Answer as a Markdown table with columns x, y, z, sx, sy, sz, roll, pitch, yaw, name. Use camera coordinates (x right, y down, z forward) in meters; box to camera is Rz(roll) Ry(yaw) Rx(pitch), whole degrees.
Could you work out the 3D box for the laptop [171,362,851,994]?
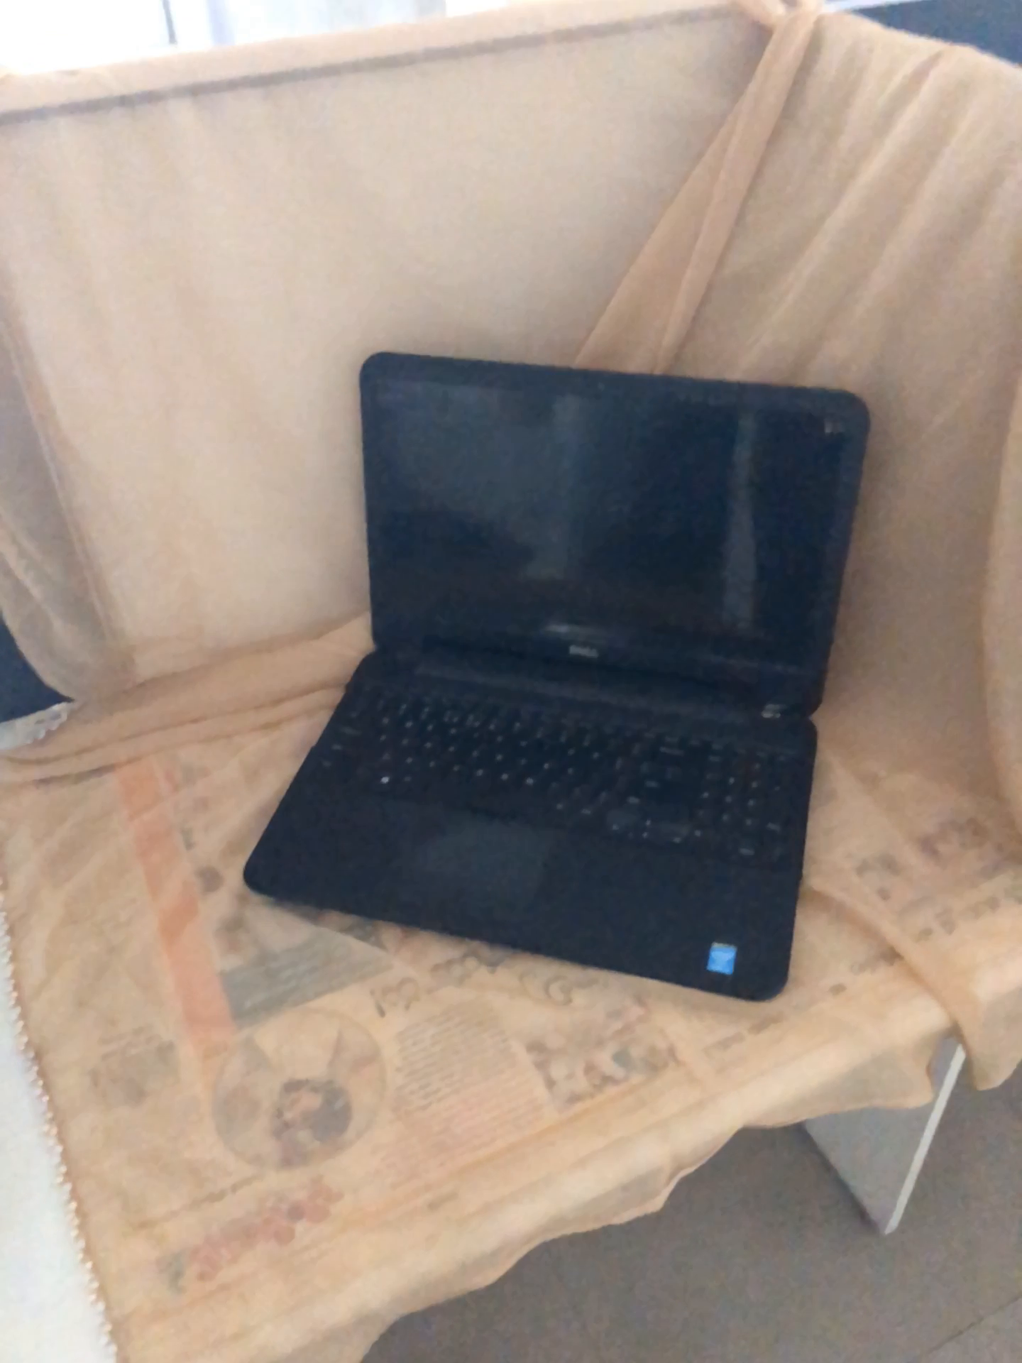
| x | y | z | sx | sy | sz | roll | pitch | yaw | name |
| --- | --- | --- | --- | --- | --- | --- | --- | --- | --- |
| 0.024 | -0.024 | 0.760 | 0.348 | 0.225 | 0.307 | 9 | 43 | 14 | laptop |
